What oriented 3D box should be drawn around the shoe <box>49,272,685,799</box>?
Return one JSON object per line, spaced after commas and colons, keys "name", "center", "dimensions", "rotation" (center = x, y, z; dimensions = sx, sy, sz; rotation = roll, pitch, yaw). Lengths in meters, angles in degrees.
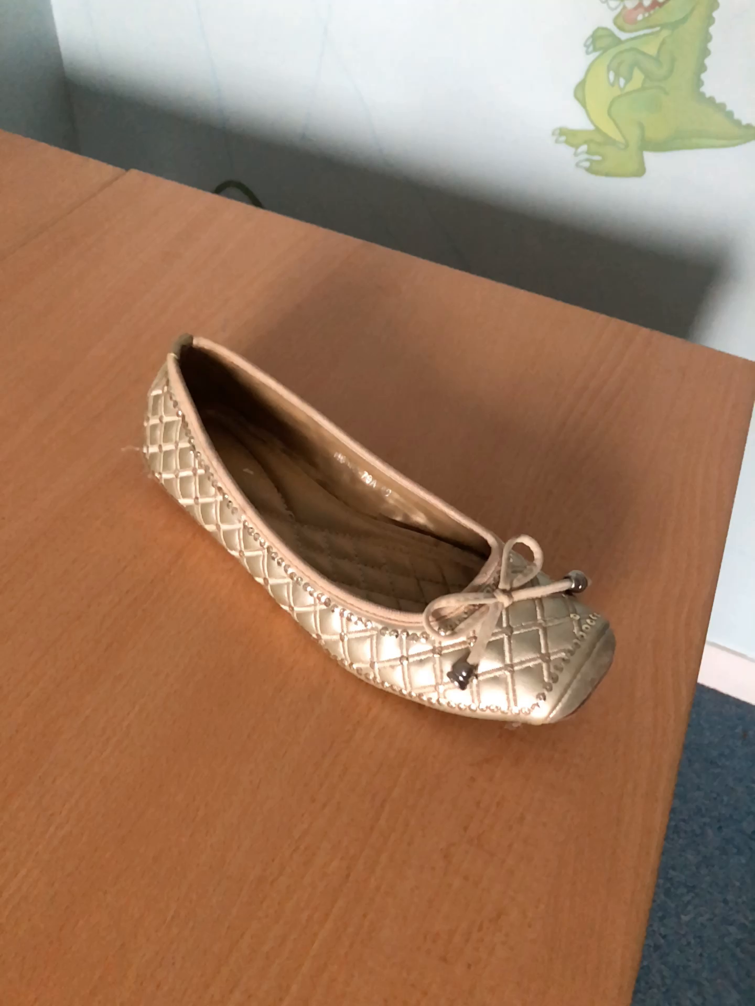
{"name": "shoe", "center": [-0.014, 0.001, 0.379], "dimensions": [0.260, 0.080, 0.101], "rotation": [31, 53, 20]}
